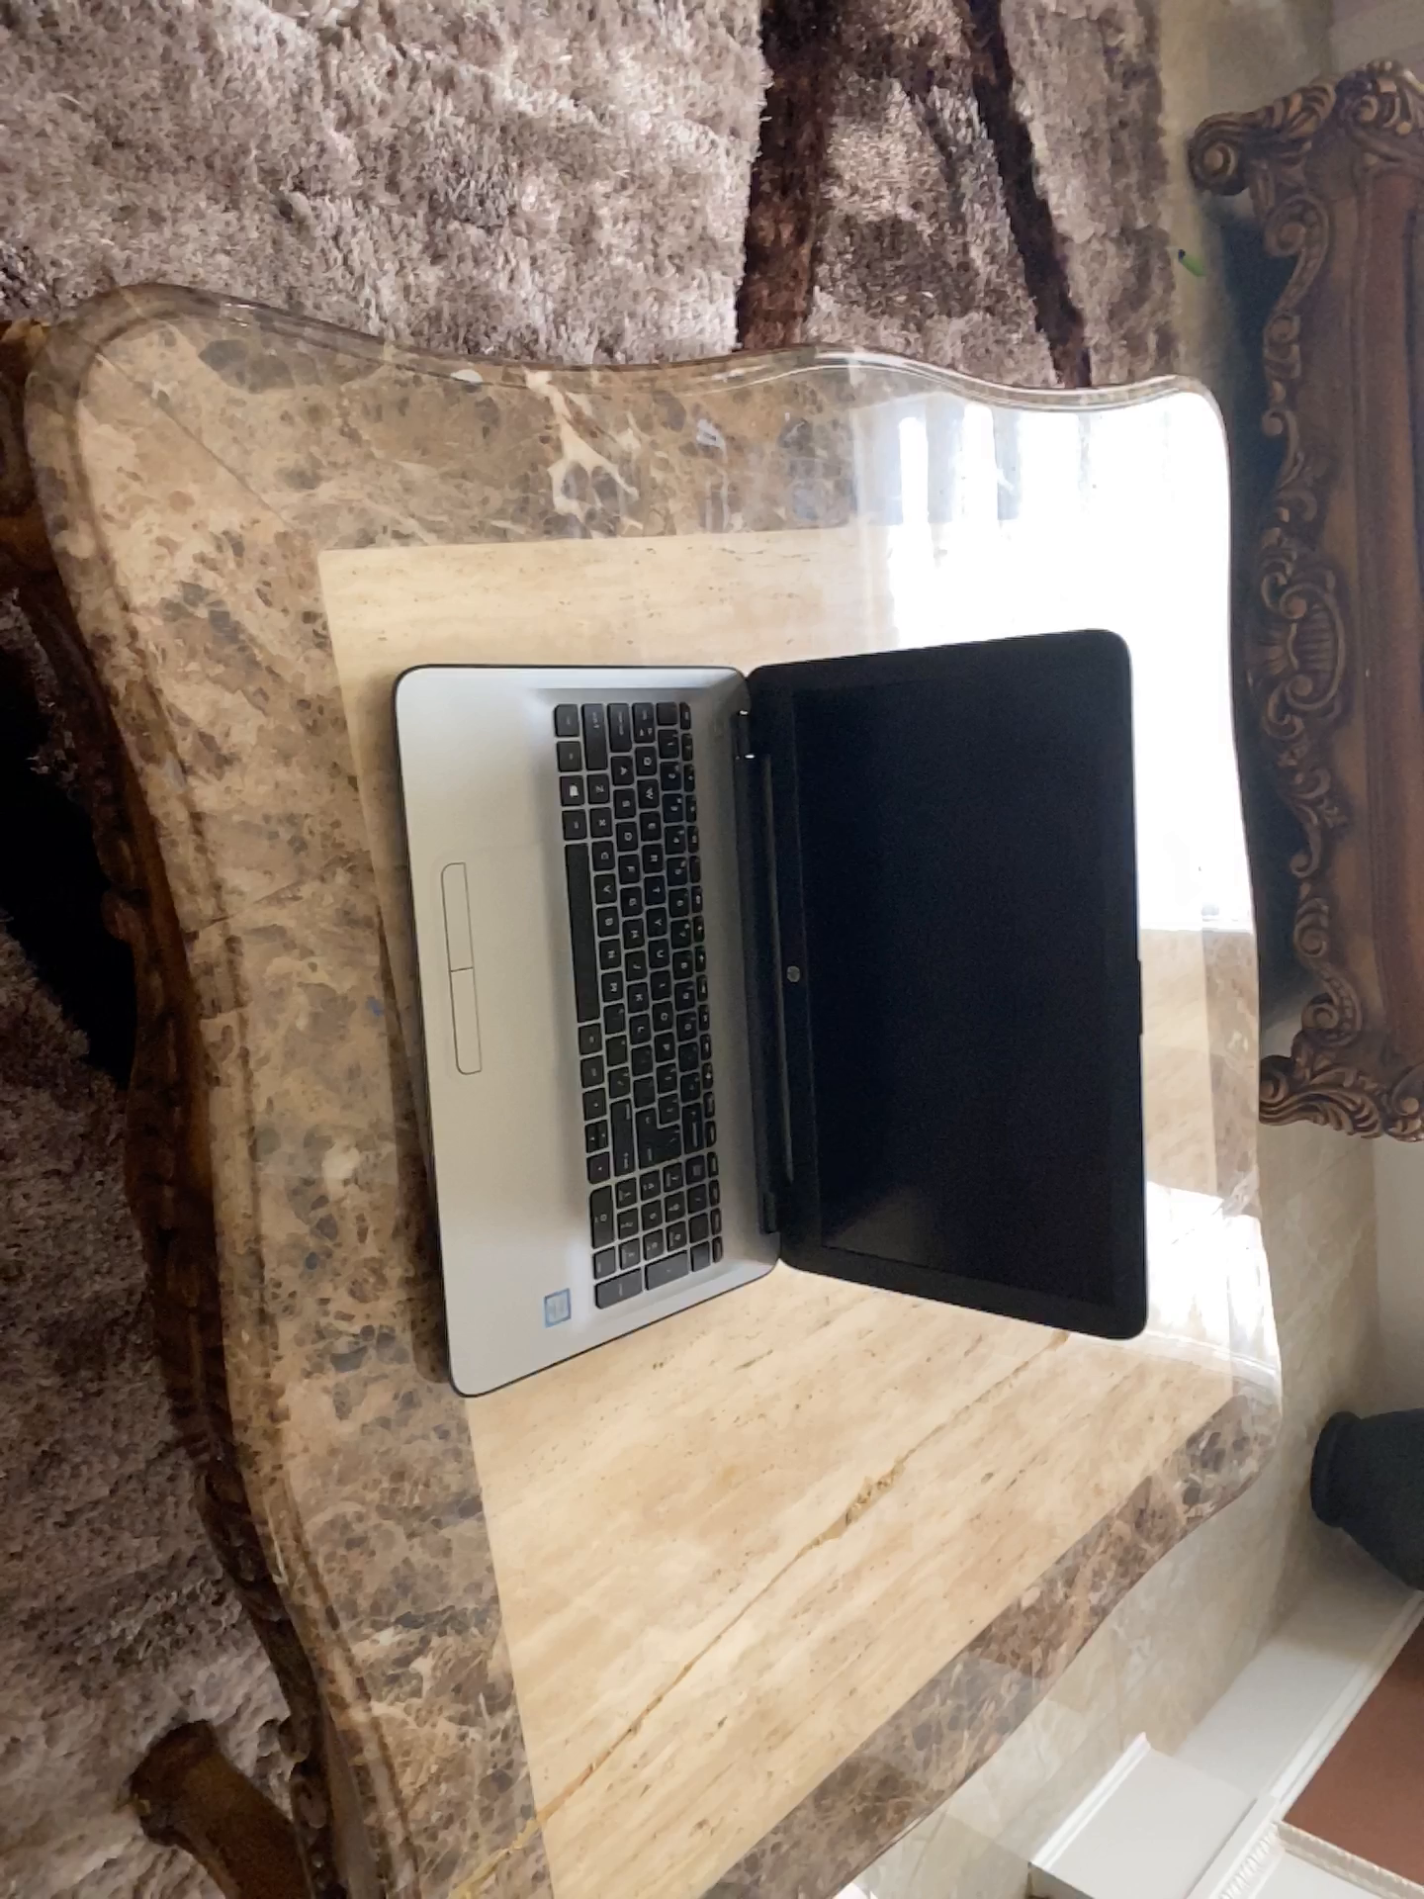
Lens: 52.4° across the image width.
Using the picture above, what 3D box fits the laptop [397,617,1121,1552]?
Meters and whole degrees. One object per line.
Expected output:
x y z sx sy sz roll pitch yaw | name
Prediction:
0.033 0.037 0.740 0.266 0.240 0.371 -11 101 -45 | laptop
